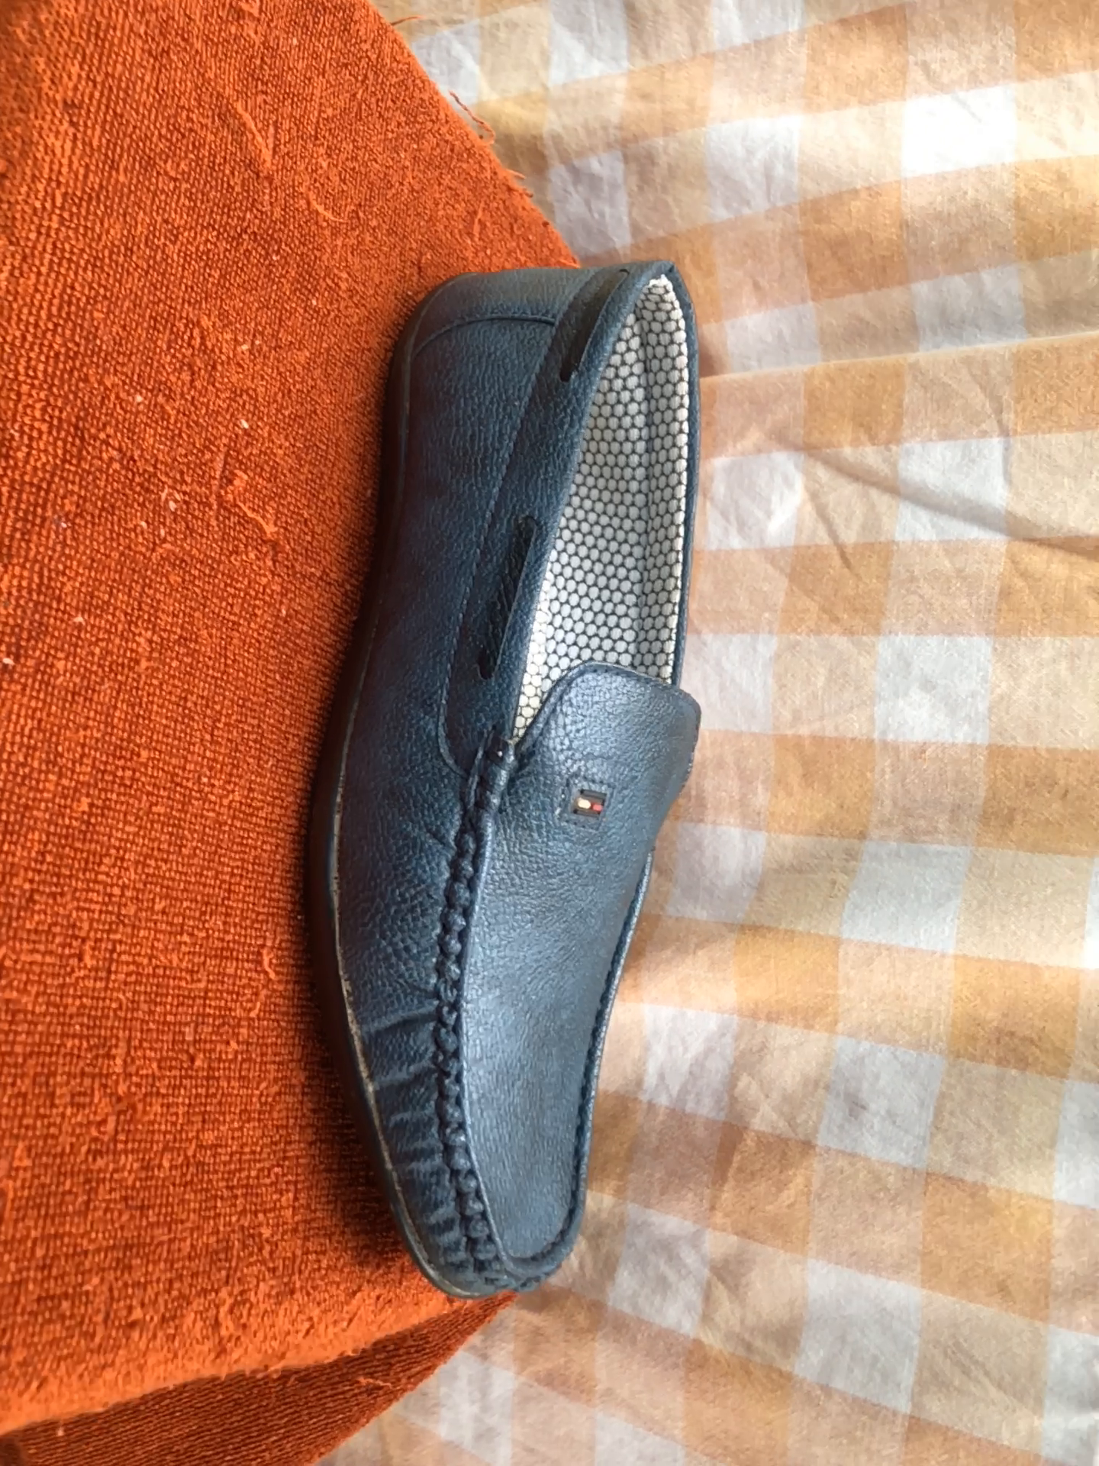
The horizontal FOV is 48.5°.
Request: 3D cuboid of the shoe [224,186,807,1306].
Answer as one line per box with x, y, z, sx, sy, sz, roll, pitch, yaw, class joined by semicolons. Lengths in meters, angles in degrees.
0.003;0.002;0.337;0.101;0.089;0.260;30;64;-57;shoe
